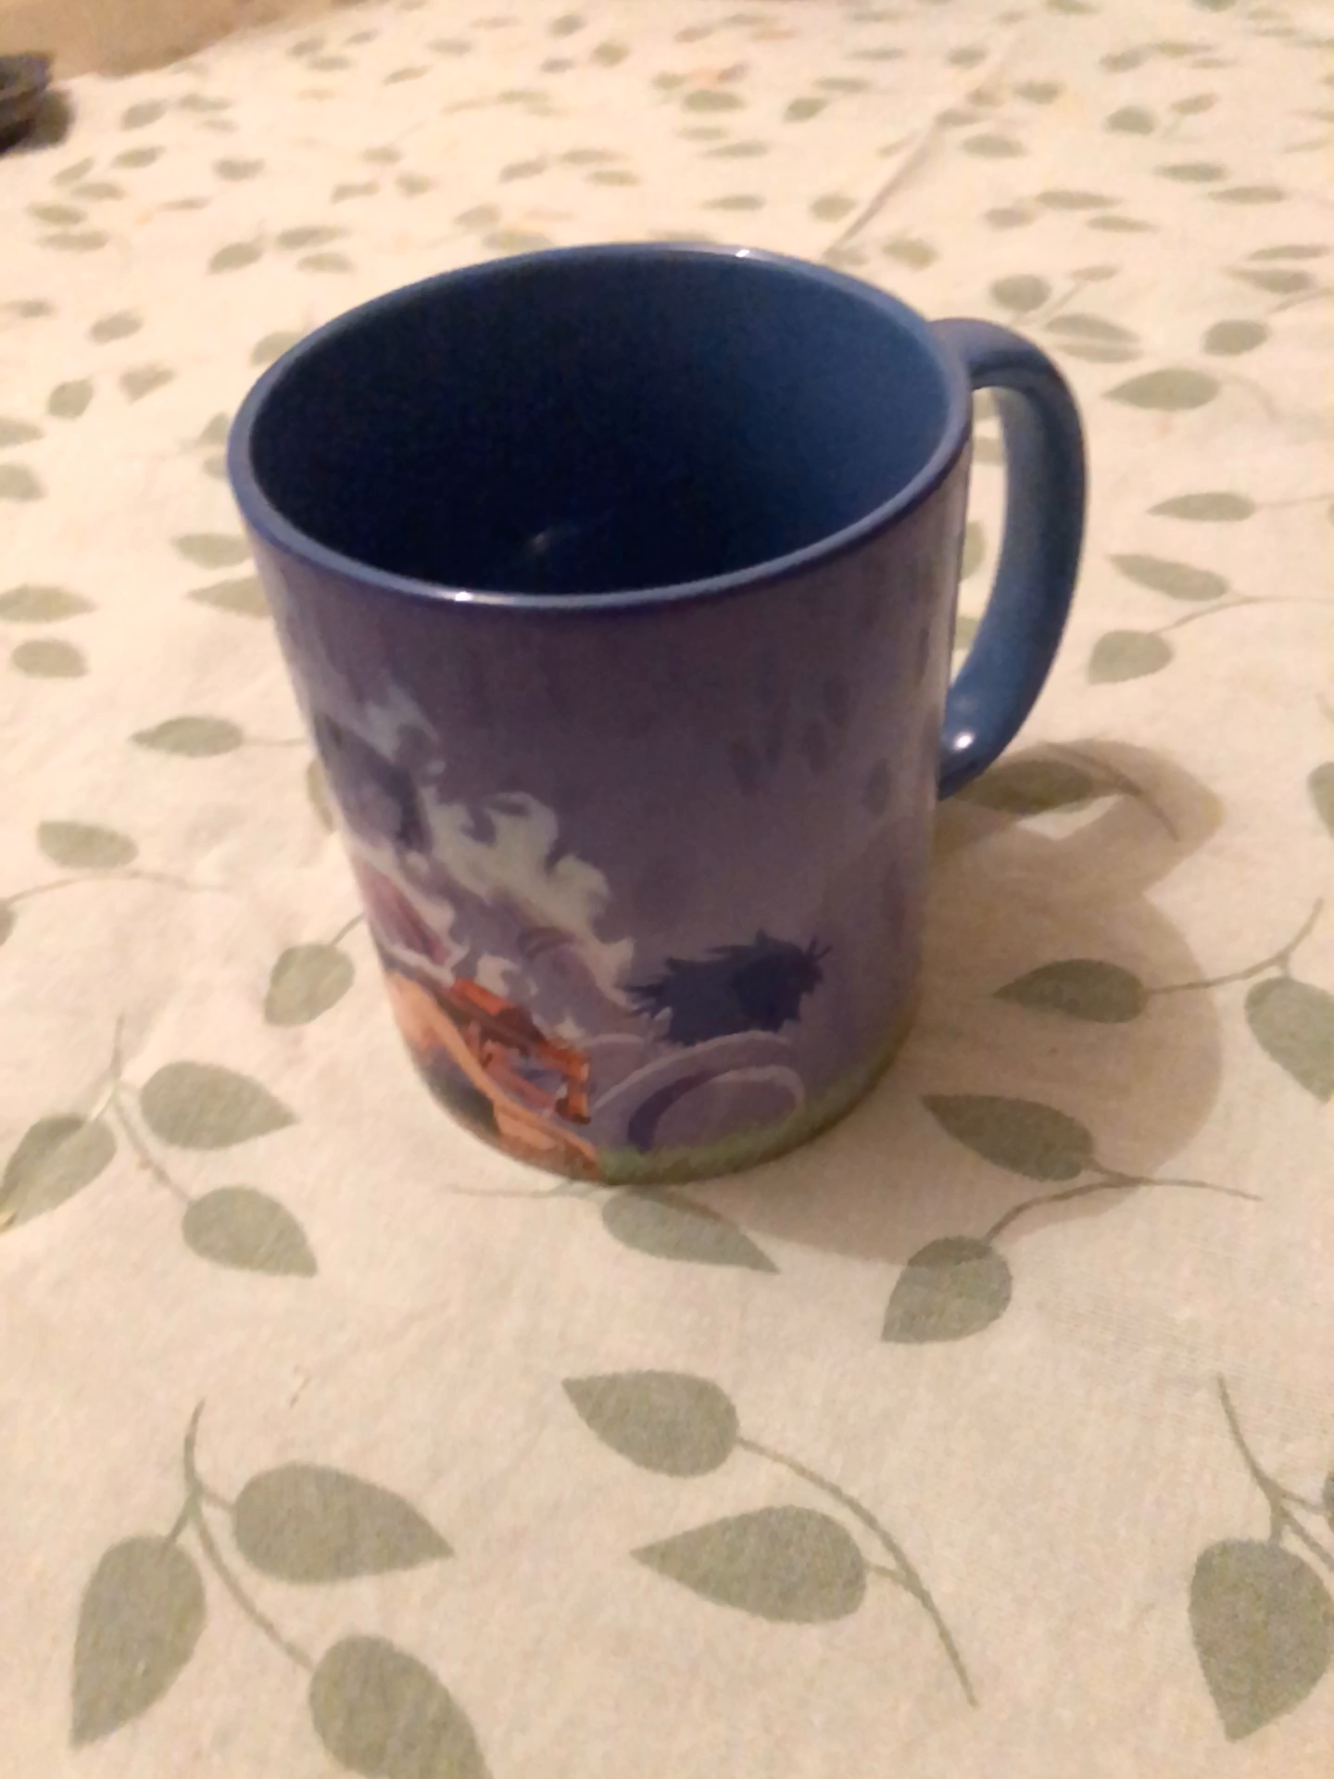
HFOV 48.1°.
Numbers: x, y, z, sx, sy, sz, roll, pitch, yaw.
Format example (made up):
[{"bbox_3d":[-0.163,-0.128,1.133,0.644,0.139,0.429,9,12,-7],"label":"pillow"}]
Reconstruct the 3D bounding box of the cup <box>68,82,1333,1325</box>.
[{"bbox_3d":[0.008,-0.031,0.203,0.120,0.099,0.090,-26,49,-20],"label":"cup"}]
